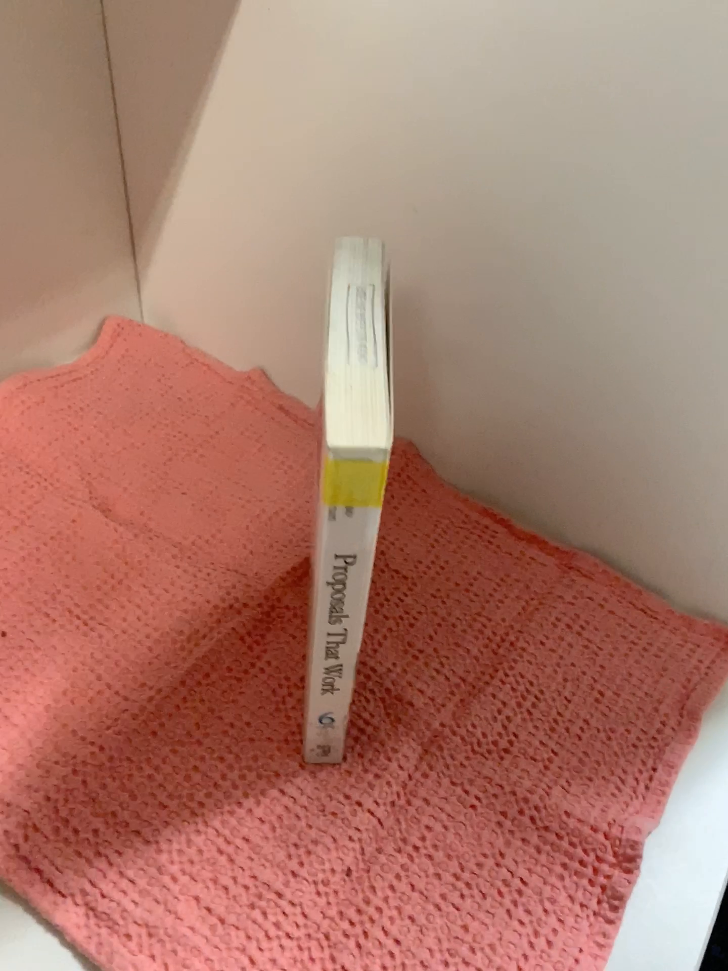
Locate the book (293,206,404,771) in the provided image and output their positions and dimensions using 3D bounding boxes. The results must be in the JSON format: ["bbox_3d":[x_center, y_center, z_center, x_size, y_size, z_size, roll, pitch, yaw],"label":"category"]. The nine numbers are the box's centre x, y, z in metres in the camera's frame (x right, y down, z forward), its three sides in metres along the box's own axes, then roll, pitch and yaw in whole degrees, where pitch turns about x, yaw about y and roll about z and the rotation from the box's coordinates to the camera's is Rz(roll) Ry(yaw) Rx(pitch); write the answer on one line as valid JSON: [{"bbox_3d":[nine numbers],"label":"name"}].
[{"bbox_3d":[-0.014,0.008,0.396,0.030,0.238,0.182,4,43,-4],"label":"book"}]
